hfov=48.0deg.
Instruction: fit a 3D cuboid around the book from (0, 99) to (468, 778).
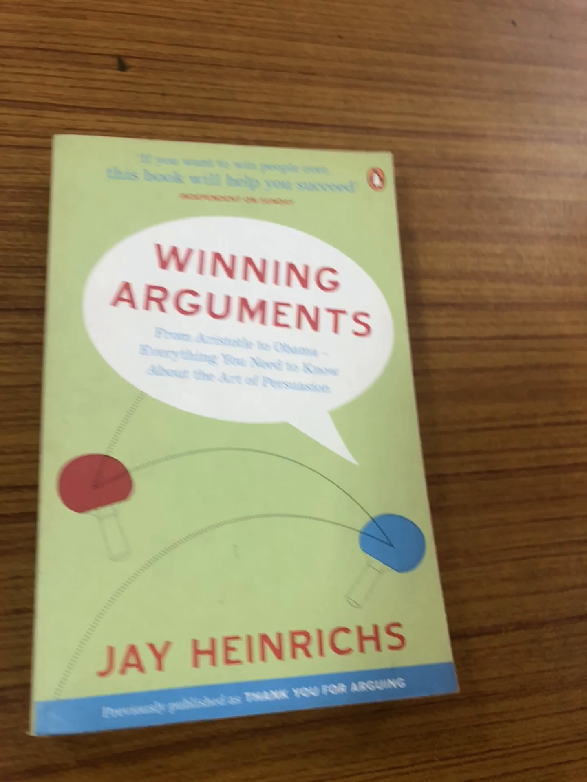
[{"bbox_3d":[-0.023,0.005,0.230,0.140,0.030,0.210,0,75,-13],"label":"book"}]
